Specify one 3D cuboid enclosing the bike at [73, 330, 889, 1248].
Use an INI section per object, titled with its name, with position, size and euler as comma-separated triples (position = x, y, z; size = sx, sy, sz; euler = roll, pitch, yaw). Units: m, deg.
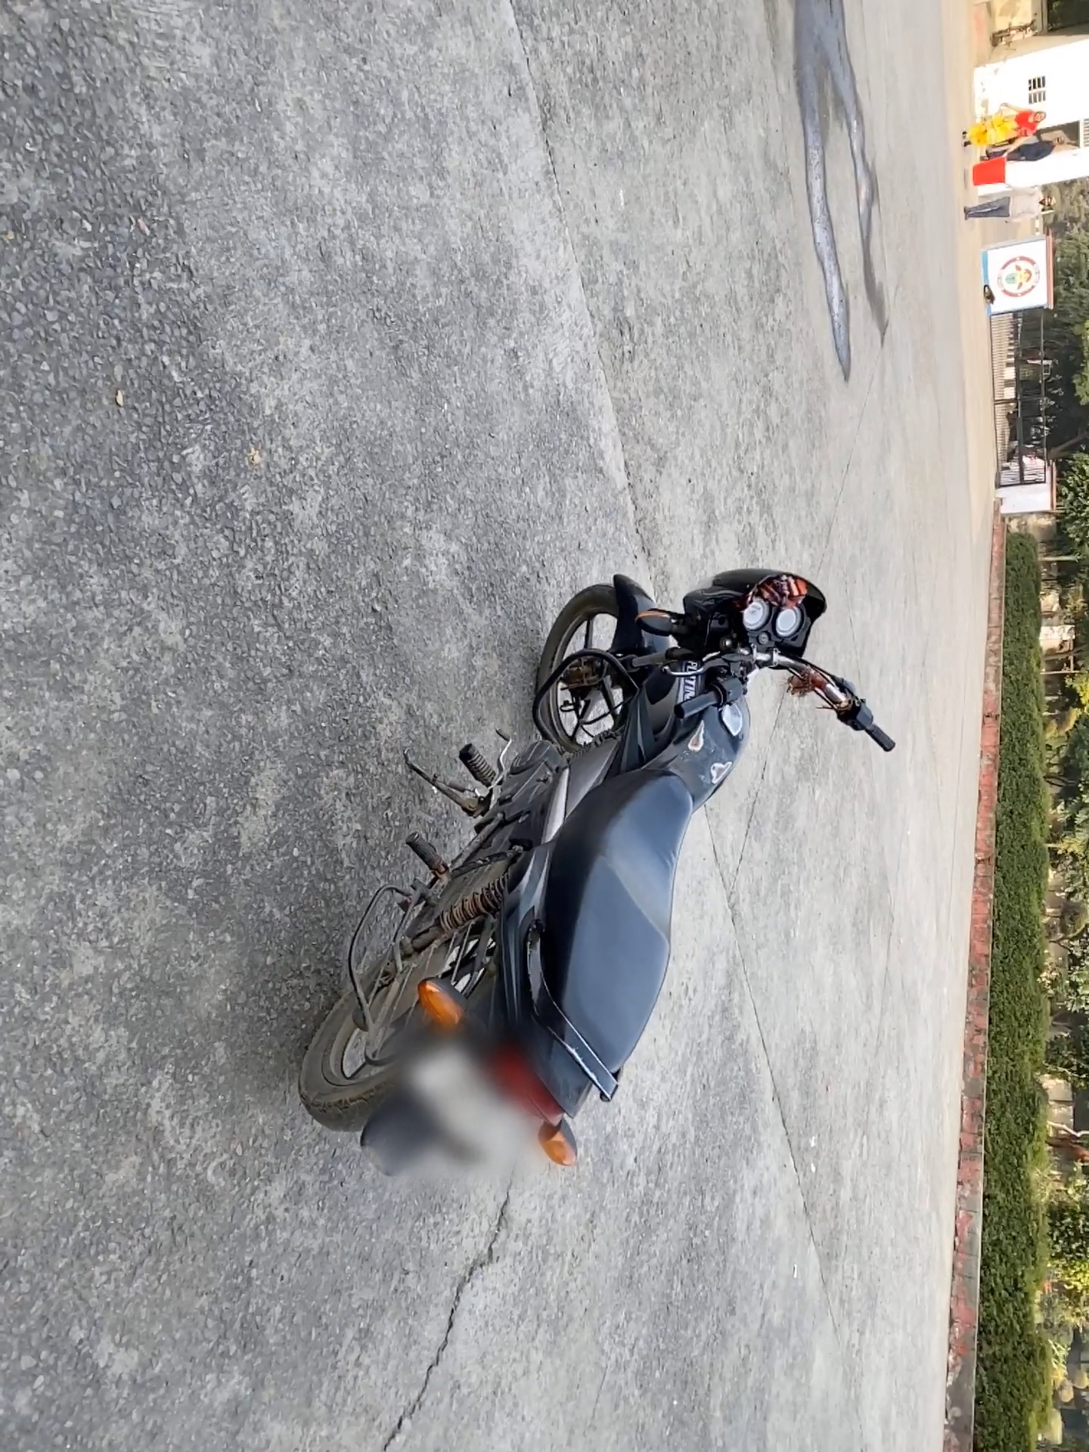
[bike]
position = 0.085, -0.042, 2.380
size = 1.742, 1.078, 0.774
euler = -65, 145, -46
